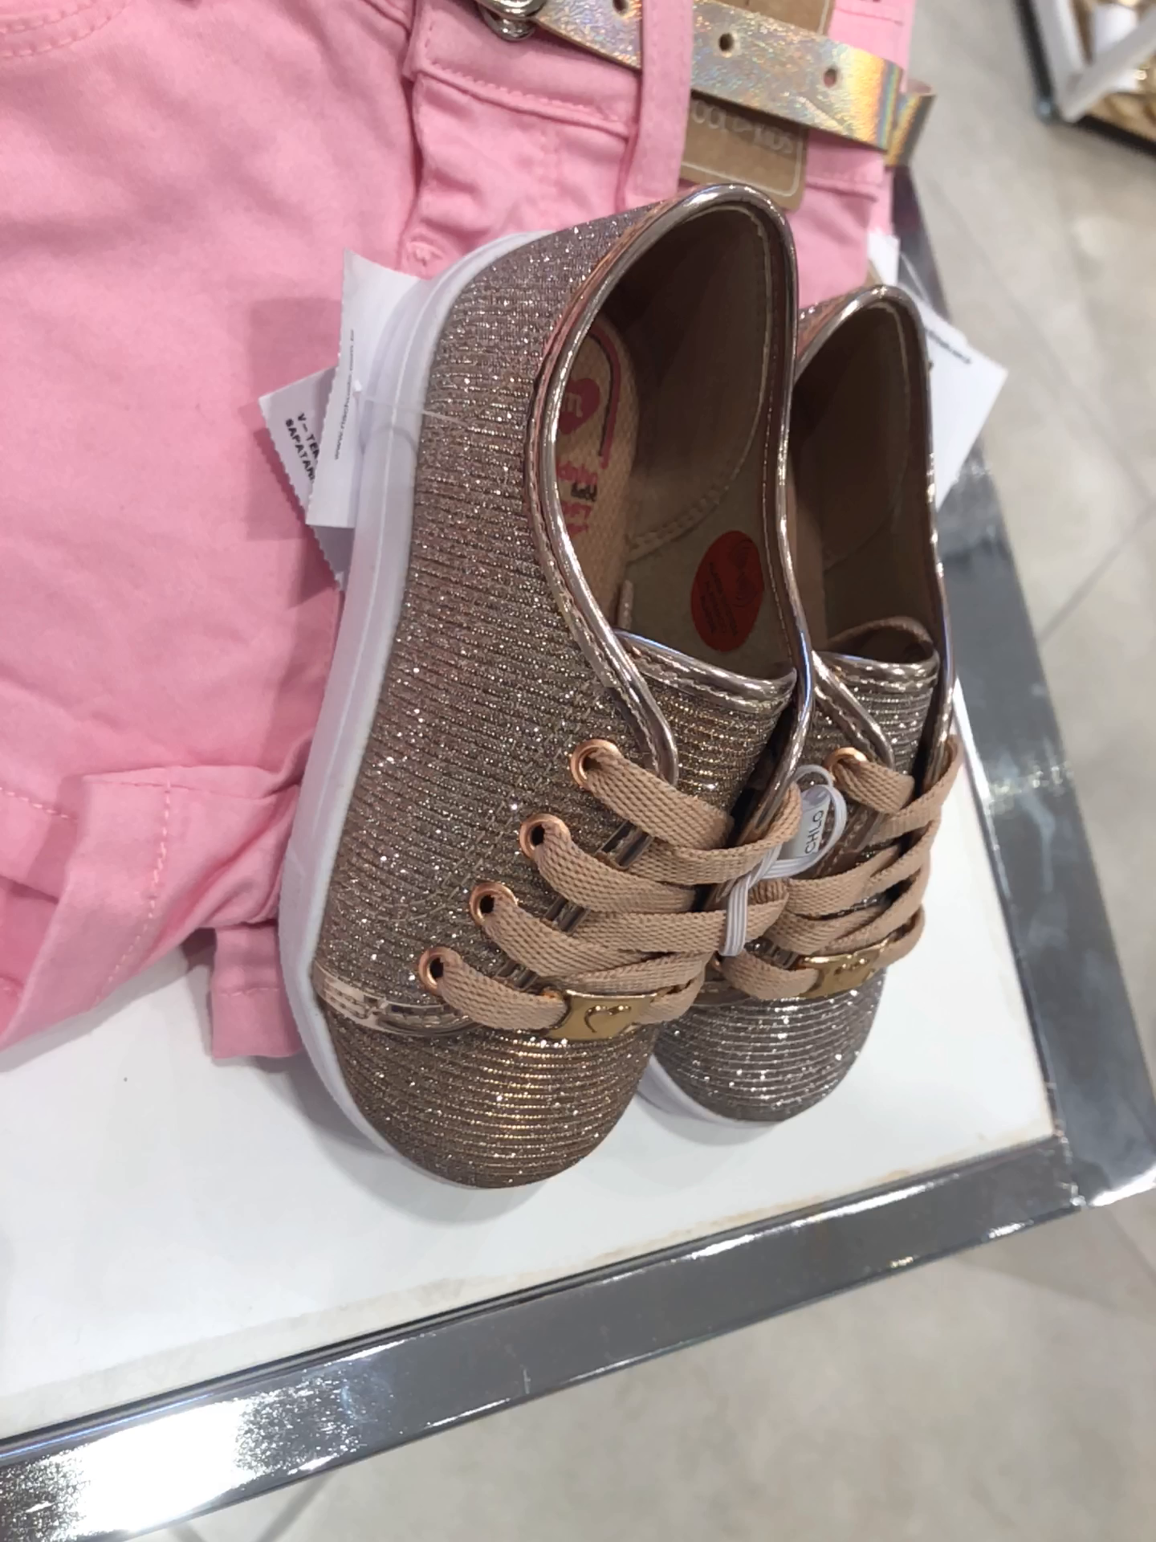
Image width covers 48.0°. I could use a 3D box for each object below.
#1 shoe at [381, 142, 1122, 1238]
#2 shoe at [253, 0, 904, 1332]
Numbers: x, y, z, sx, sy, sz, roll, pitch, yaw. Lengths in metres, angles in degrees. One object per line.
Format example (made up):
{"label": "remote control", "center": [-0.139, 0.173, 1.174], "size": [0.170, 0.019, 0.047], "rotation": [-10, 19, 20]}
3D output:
{"label": "shoe", "center": [0.031, -0.016, 0.253], "size": [0.080, 0.080, 0.170], "rotation": [-12, 92, -32]}
{"label": "shoe", "center": [-0.006, -0.015, 0.216], "size": [0.070, 0.080, 0.170], "rotation": [-1, 97, -30]}
